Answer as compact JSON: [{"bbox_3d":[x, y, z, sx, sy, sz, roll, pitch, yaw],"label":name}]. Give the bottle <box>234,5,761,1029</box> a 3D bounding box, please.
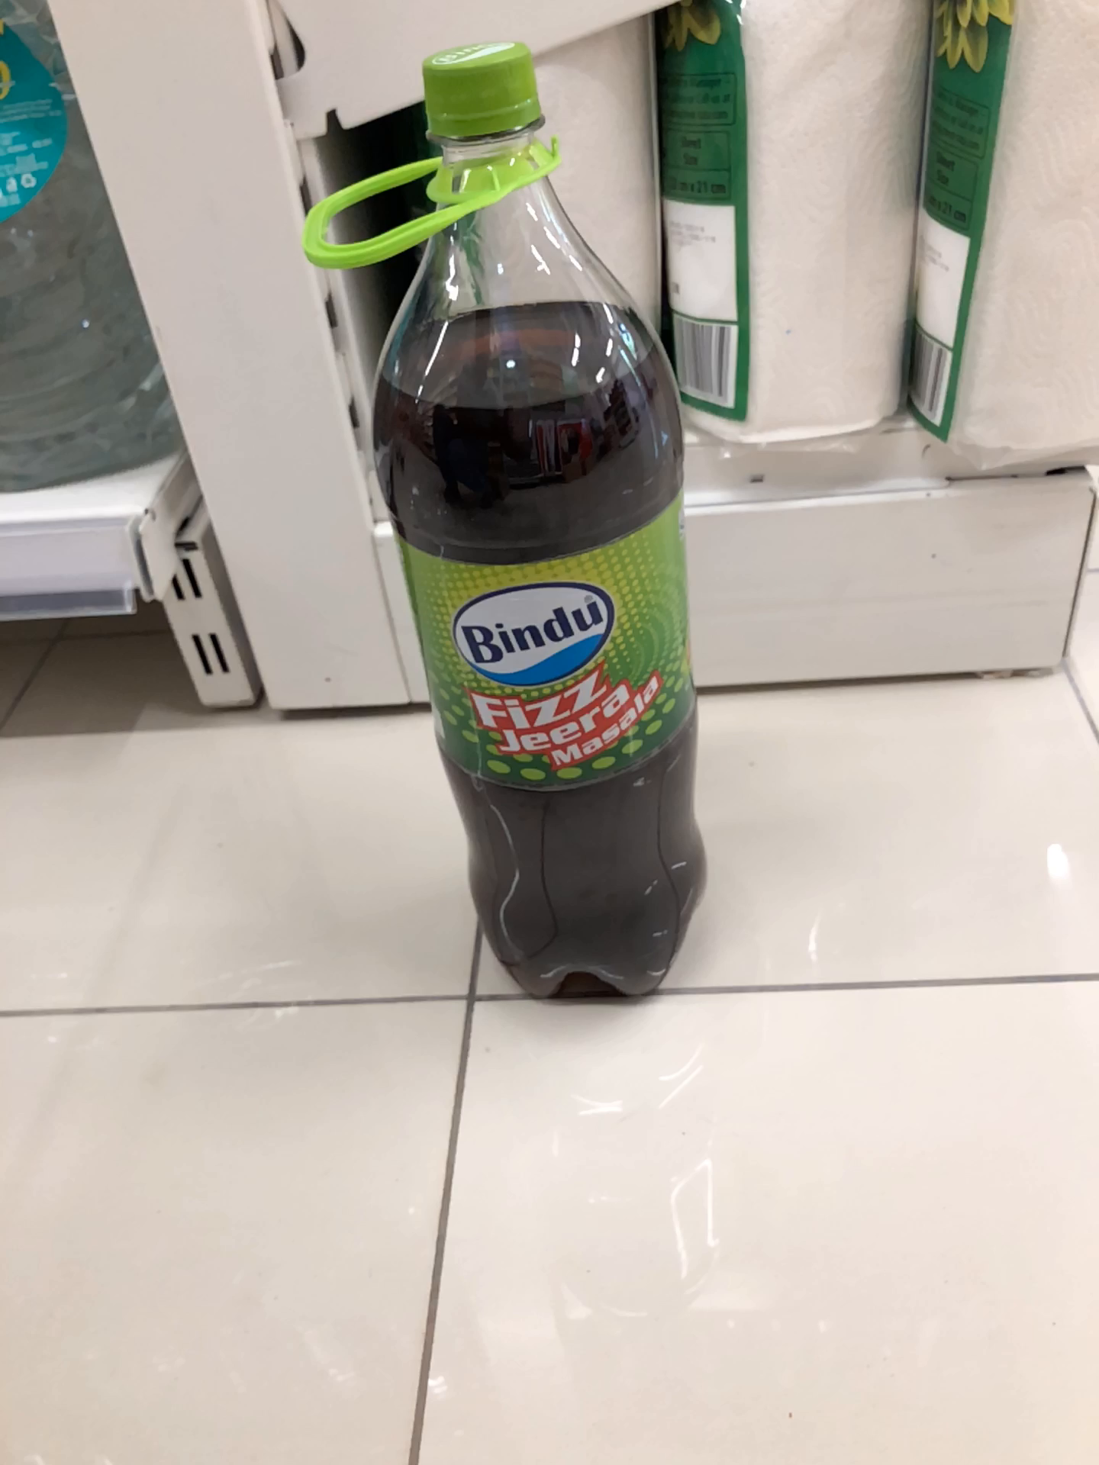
[{"bbox_3d":[0.004,-0.045,0.387,0.110,0.298,0.101,-5,38,4],"label":"bottle"}]
